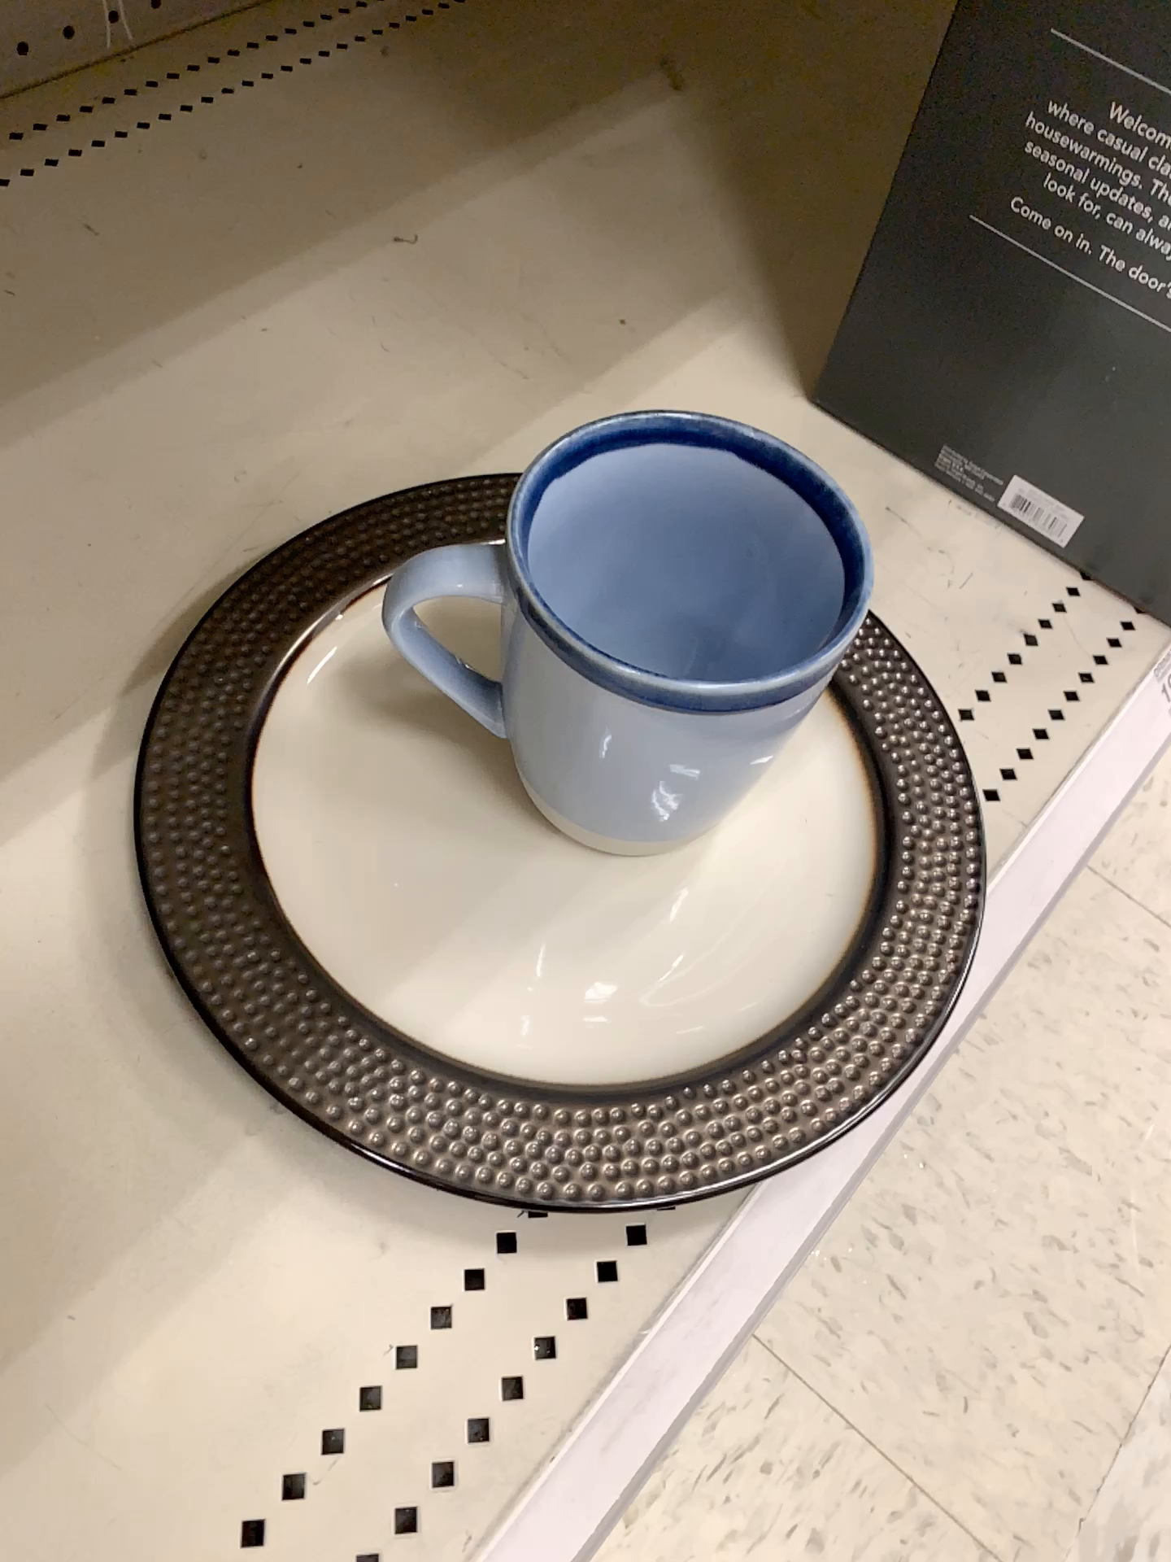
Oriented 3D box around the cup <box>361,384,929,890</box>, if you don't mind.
[{"bbox_3d":[0.007,-0.034,0.330,0.127,0.094,0.094,2,59,-8],"label":"cup"}]
